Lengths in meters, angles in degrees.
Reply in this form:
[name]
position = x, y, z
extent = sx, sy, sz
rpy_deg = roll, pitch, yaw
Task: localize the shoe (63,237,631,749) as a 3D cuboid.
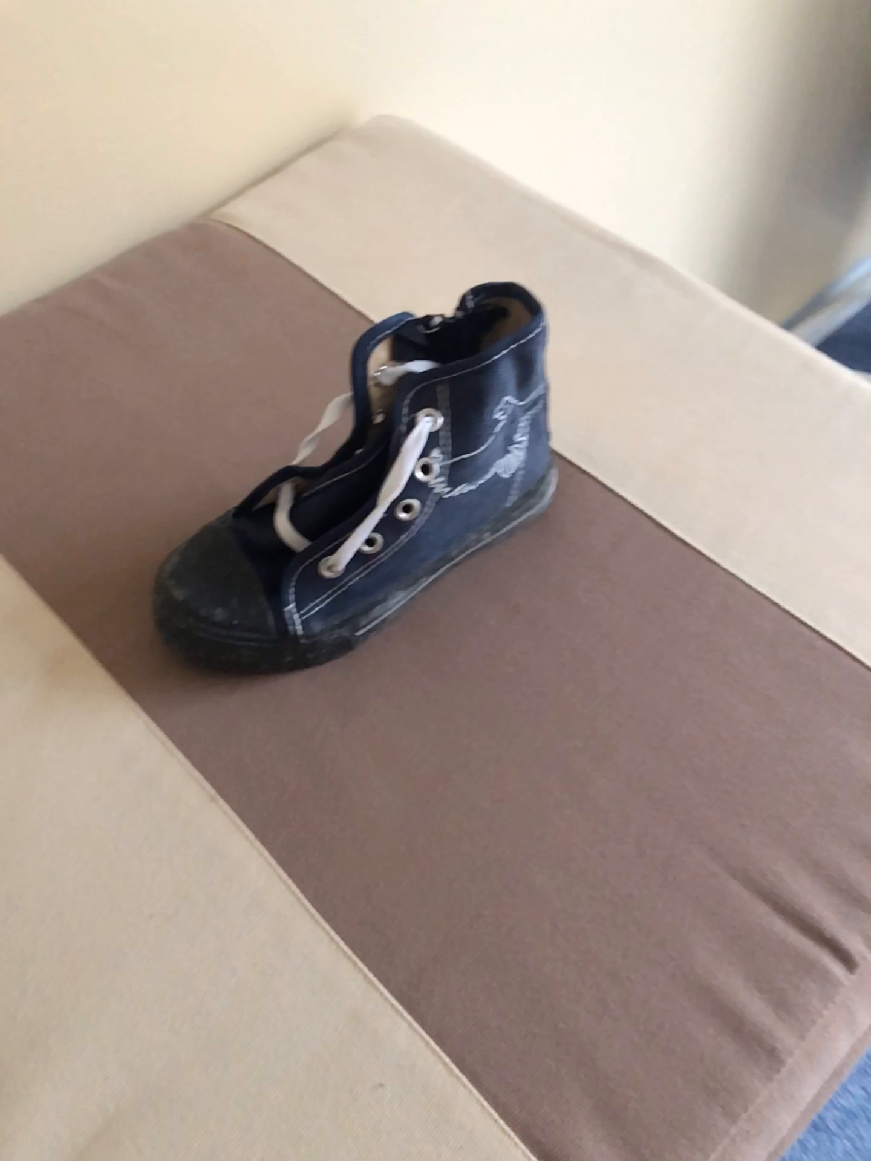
[shoe]
position = -0.028, -0.041, 0.406
extent = 0.201, 0.100, 0.090
rpy_deg = -33, 60, -19
